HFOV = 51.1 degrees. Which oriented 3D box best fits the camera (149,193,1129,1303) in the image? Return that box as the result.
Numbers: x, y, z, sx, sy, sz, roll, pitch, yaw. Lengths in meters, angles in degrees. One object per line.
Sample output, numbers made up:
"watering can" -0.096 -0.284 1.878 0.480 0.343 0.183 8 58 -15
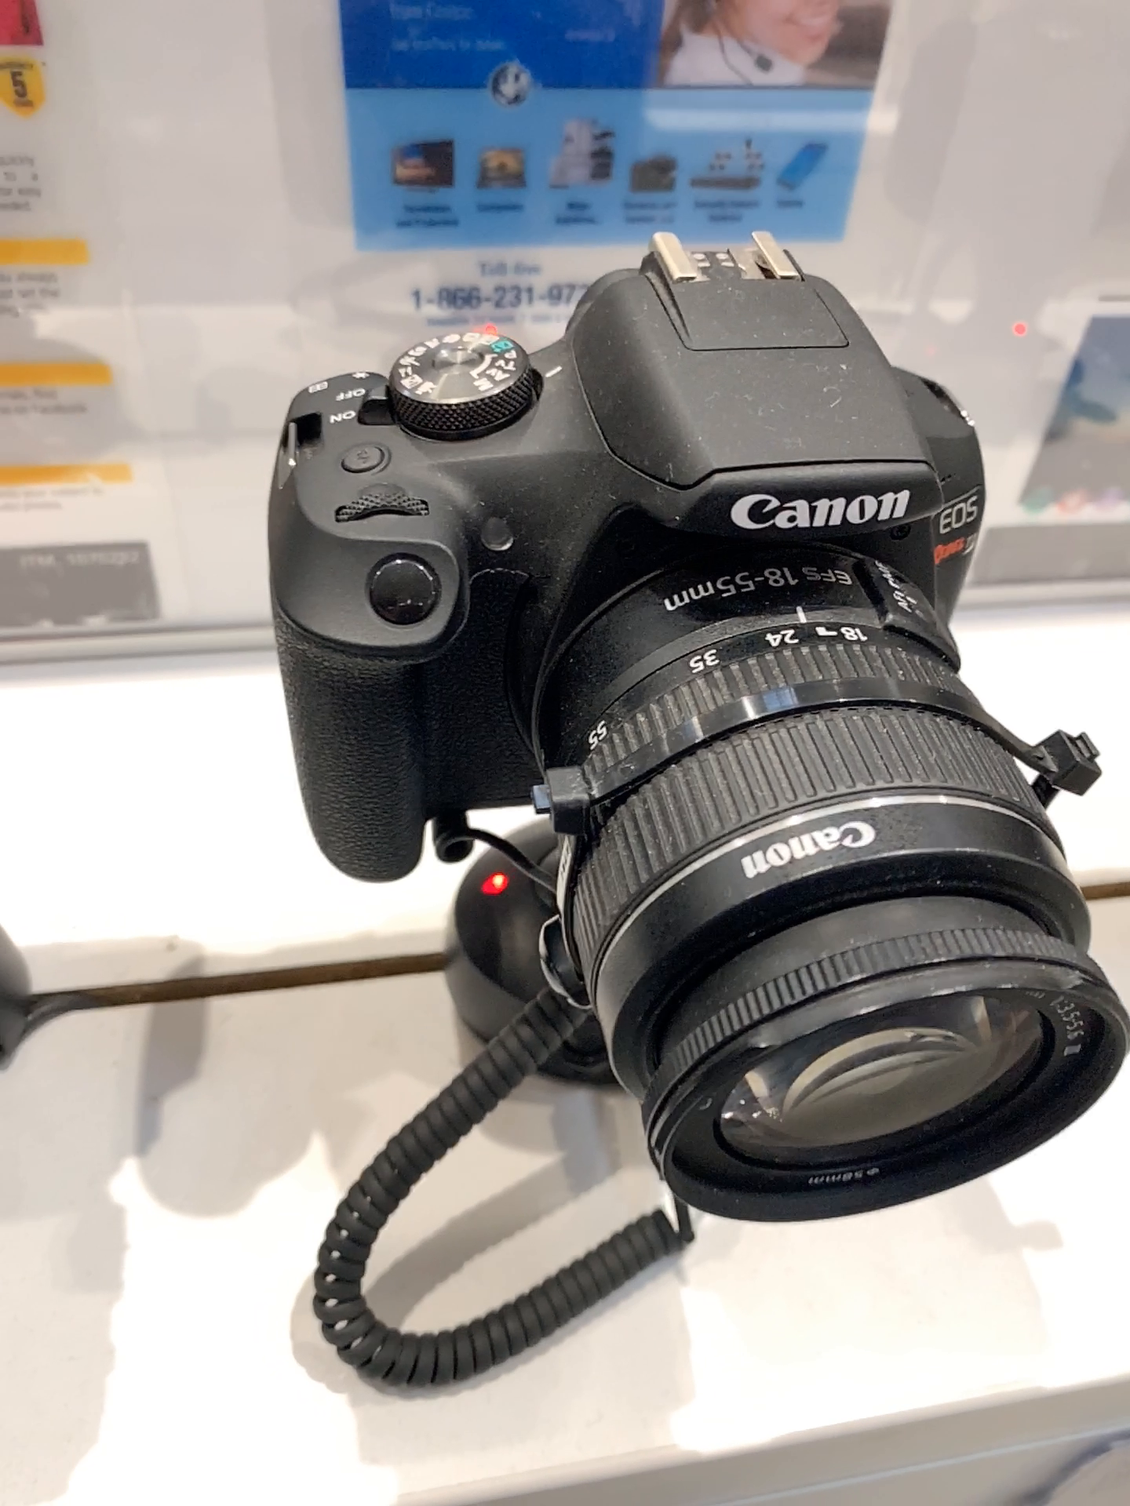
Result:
"camera" 0.015 -0.015 0.184 0.130 0.089 0.141 -5 45 -10
